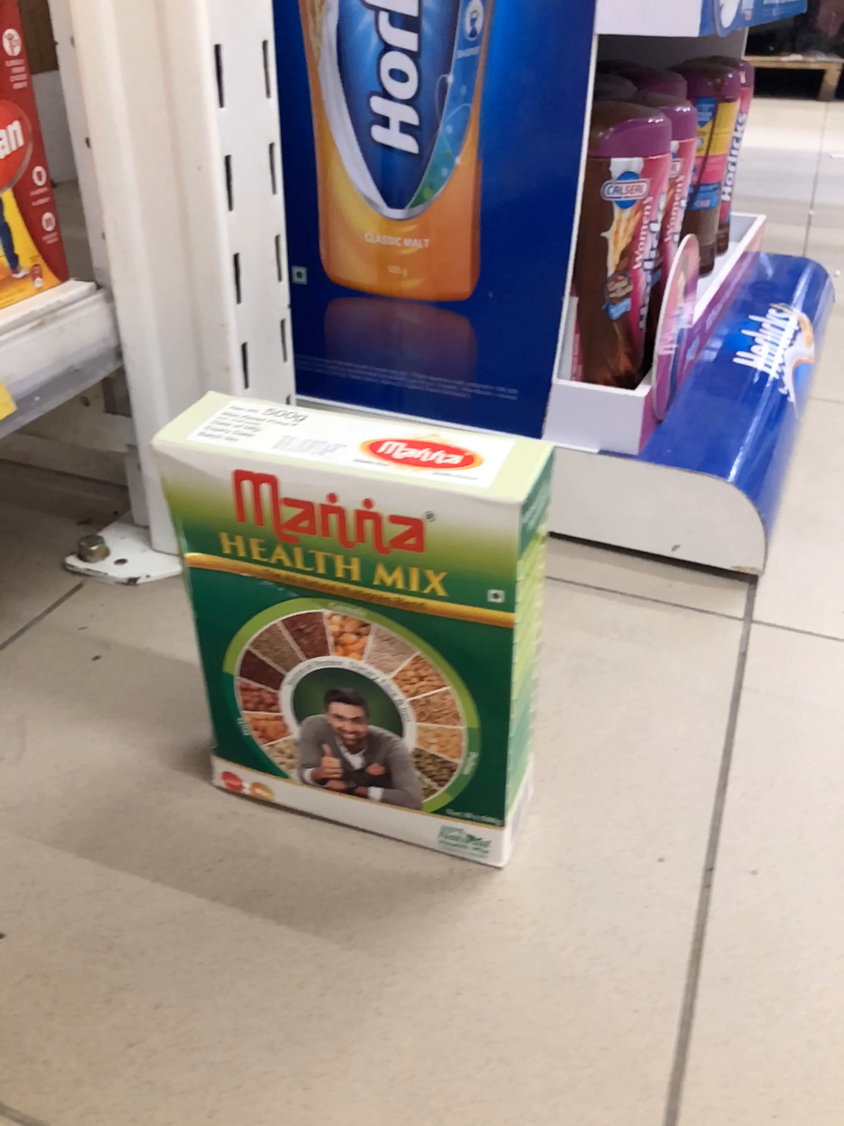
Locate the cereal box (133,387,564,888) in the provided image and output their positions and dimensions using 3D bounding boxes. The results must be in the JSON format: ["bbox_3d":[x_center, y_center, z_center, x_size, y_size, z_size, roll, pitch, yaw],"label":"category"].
[{"bbox_3d":[-0.028,0.034,0.392,0.150,0.189,0.050,10,32,14],"label":"cereal box"}]
